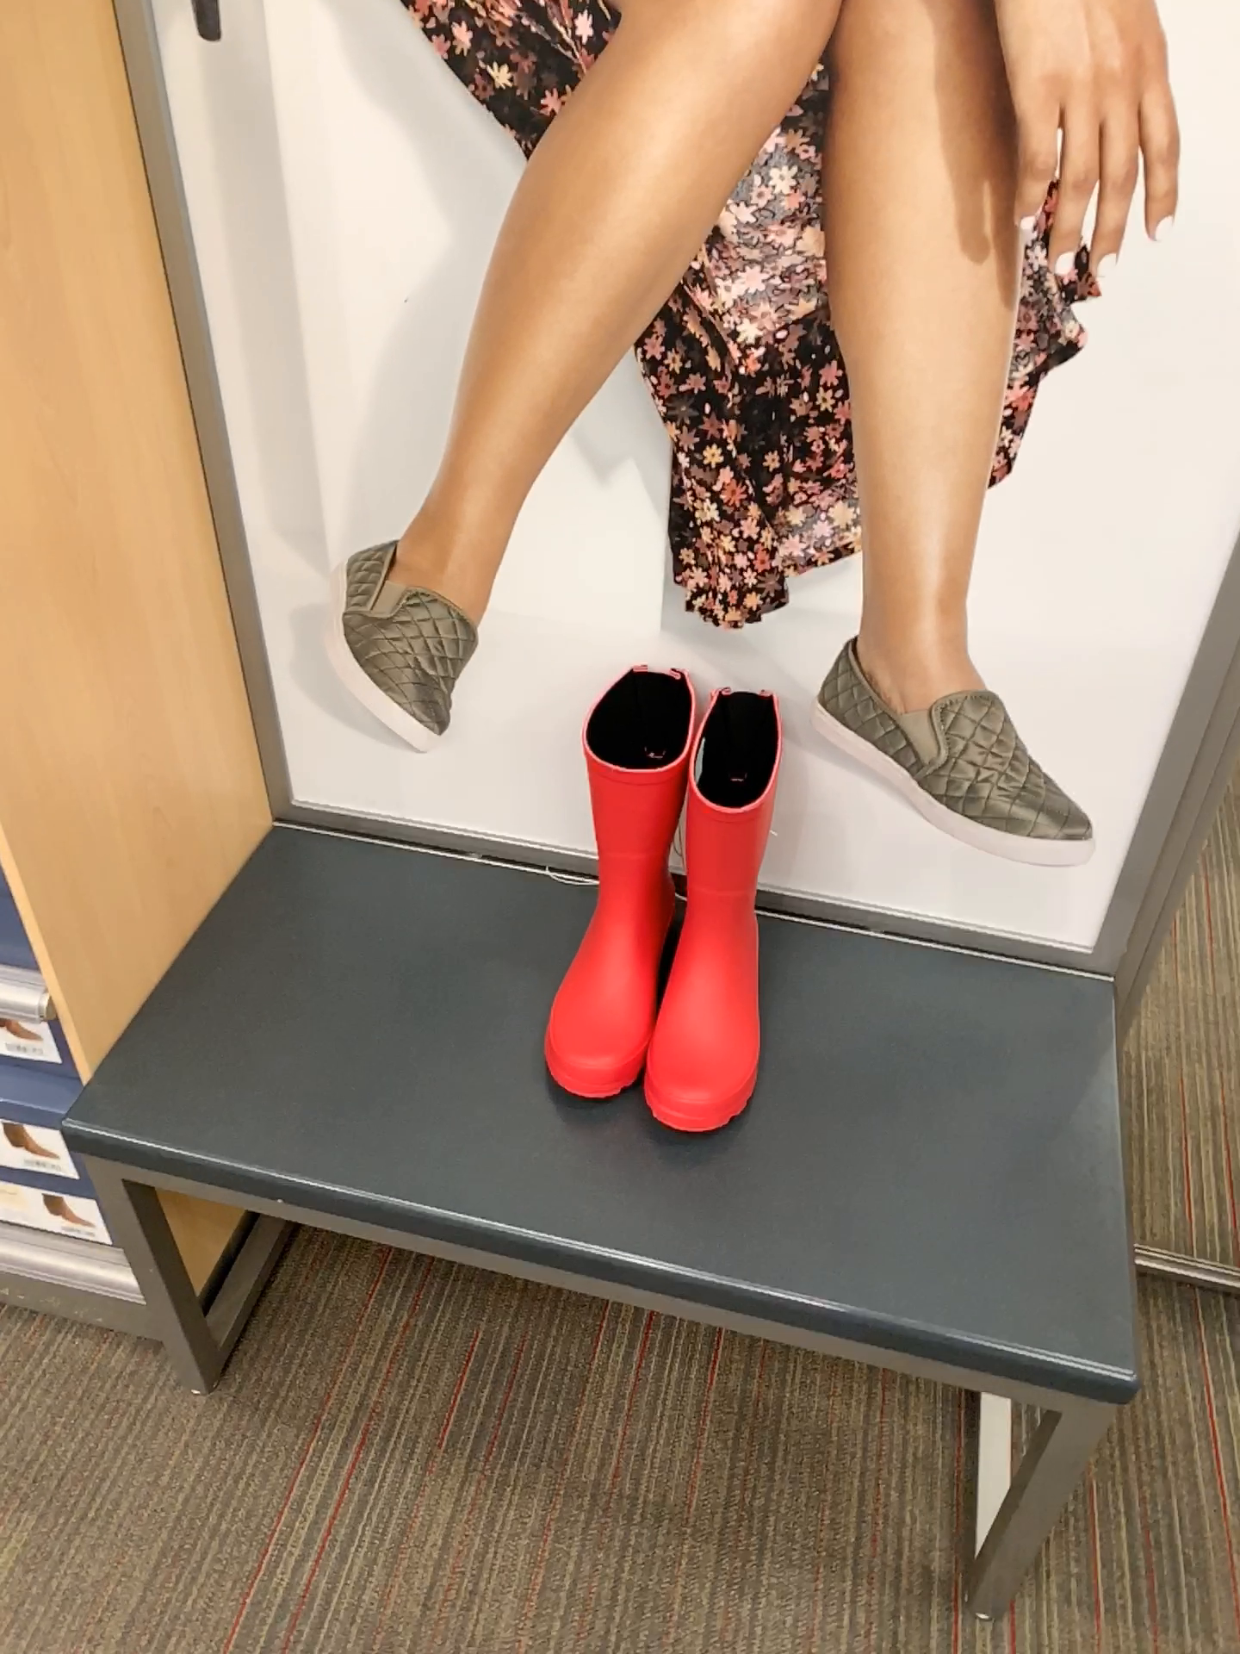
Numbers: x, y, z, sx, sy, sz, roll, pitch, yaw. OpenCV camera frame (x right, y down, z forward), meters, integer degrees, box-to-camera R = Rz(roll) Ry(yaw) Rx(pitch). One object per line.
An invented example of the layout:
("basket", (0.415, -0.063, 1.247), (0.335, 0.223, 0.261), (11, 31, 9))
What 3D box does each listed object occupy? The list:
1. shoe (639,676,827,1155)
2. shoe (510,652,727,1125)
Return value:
("shoe", (0.091, 0.064, 0.998), (0.106, 0.249, 0.271), (7, 39, 6))
("shoe", (0.004, 0.043, 1.011), (0.106, 0.249, 0.271), (9, 39, 9))
